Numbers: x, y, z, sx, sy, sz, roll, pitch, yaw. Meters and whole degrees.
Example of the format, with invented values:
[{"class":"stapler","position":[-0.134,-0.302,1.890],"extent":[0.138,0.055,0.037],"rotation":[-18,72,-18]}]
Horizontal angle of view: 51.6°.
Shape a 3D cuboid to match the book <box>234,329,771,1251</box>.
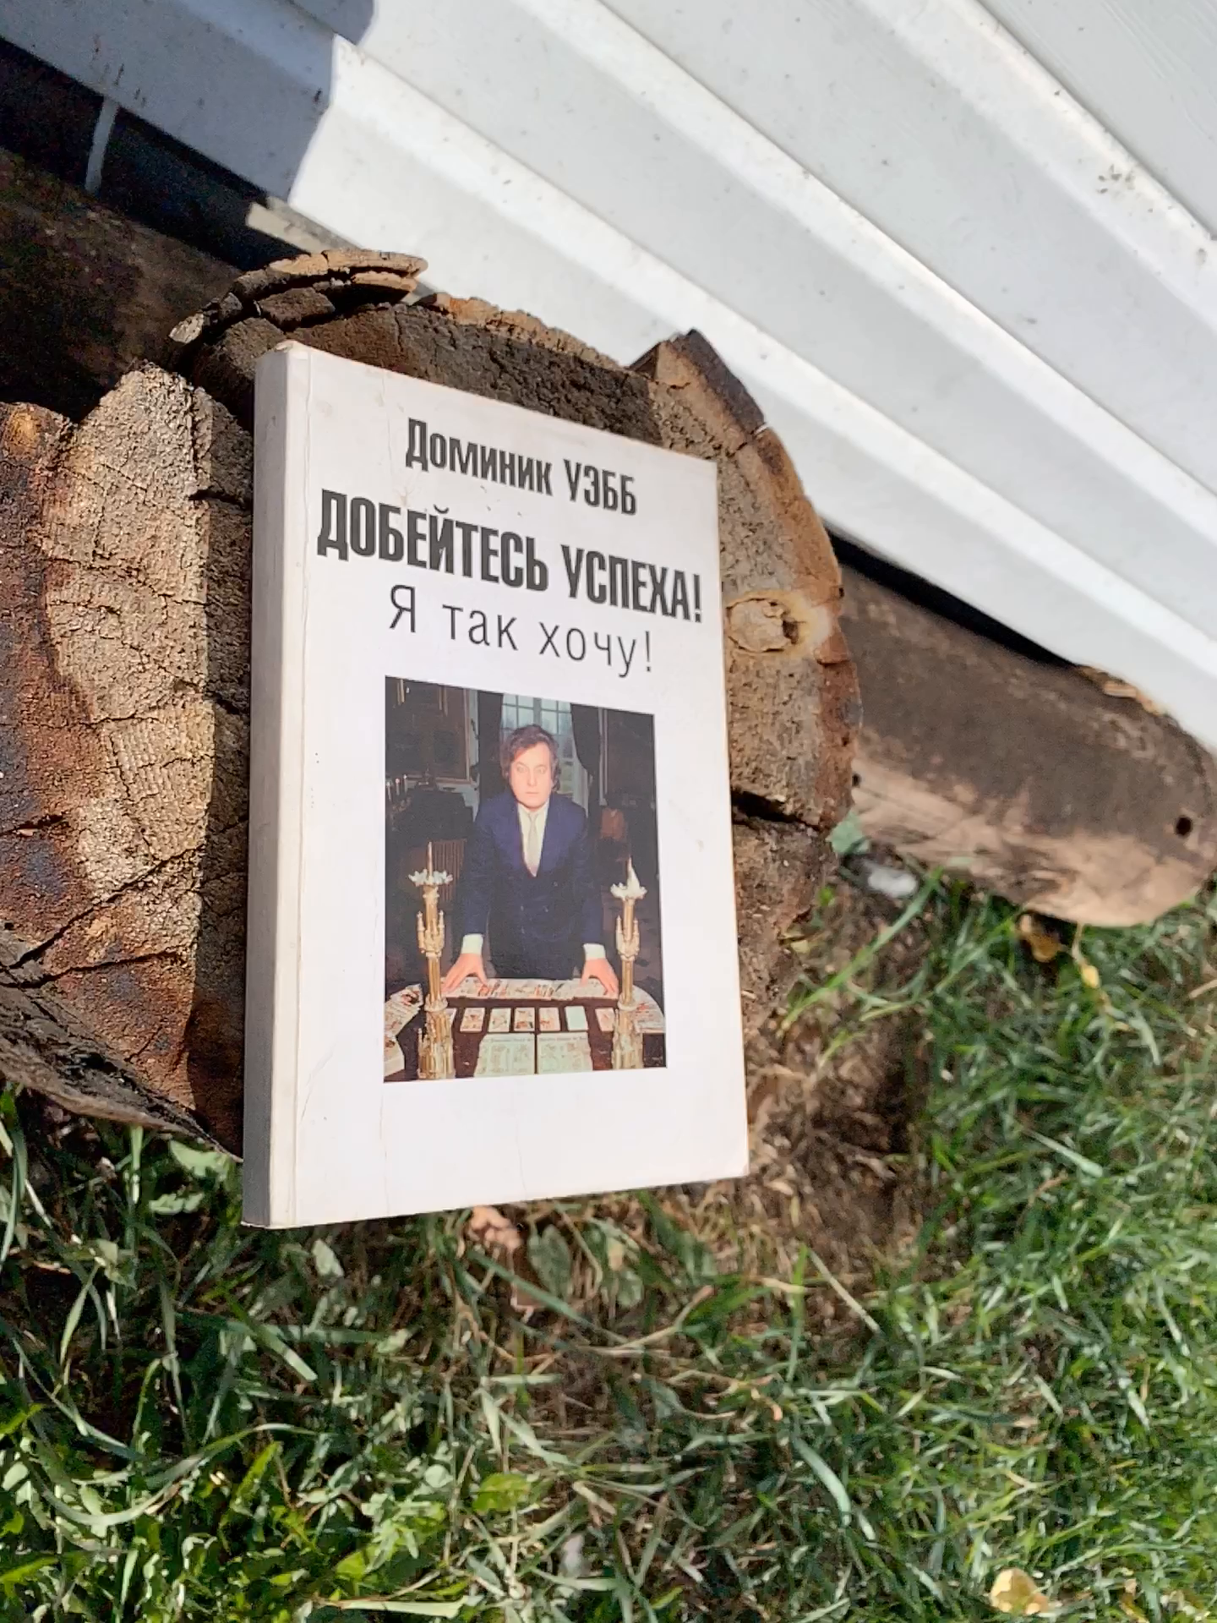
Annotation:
[{"class":"book","position":[-0.022,-0.005,0.328],"extent":[0.140,0.020,0.210],"rotation":[5,77,-34]}]
